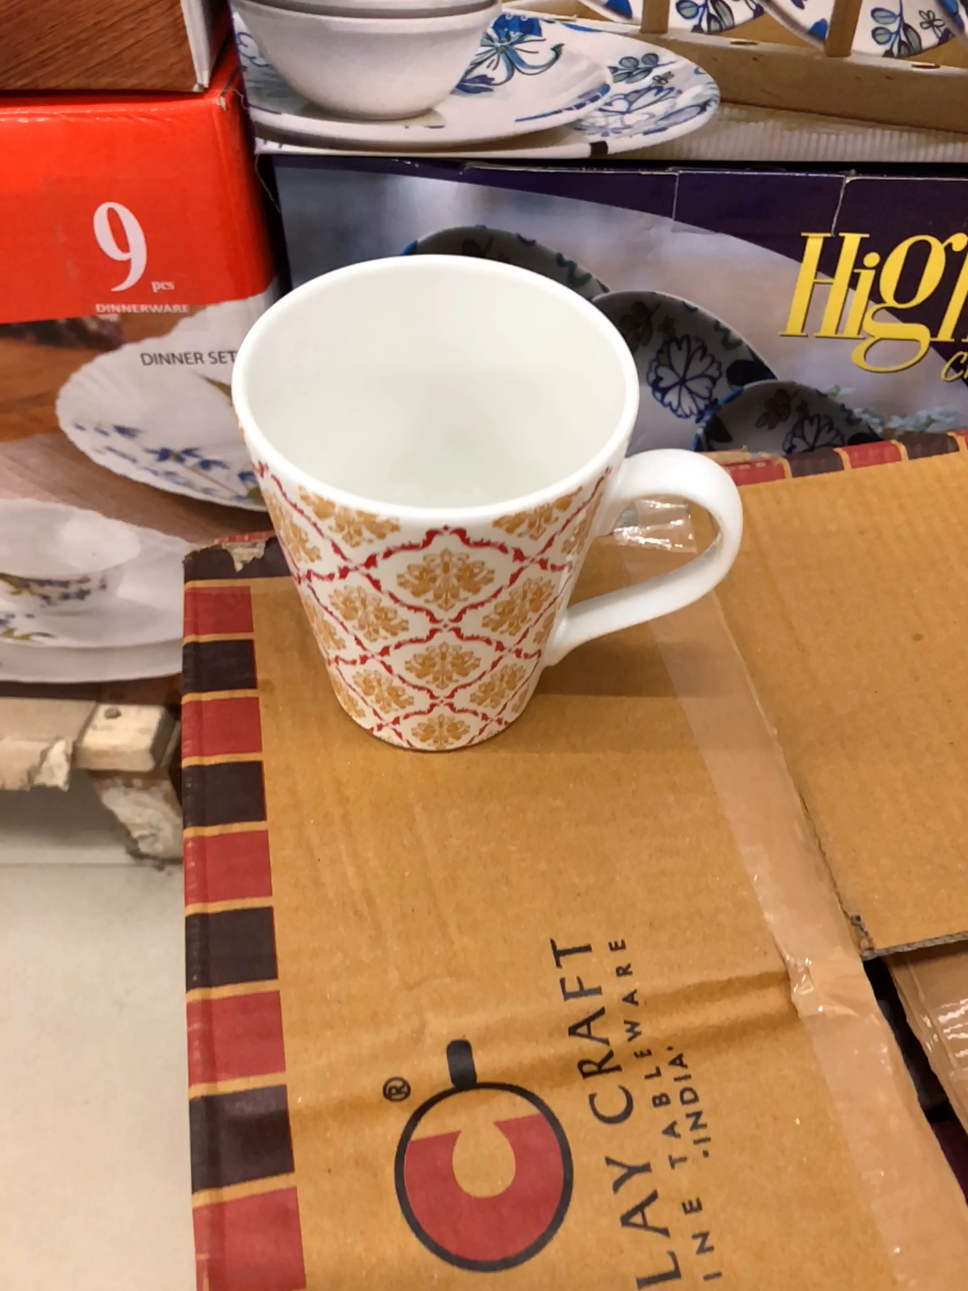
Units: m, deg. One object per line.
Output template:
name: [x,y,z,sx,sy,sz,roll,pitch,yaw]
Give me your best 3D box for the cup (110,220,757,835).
cup: [-0.003,-0.028,0.248,0.110,0.089,0.091,9,50,8]
